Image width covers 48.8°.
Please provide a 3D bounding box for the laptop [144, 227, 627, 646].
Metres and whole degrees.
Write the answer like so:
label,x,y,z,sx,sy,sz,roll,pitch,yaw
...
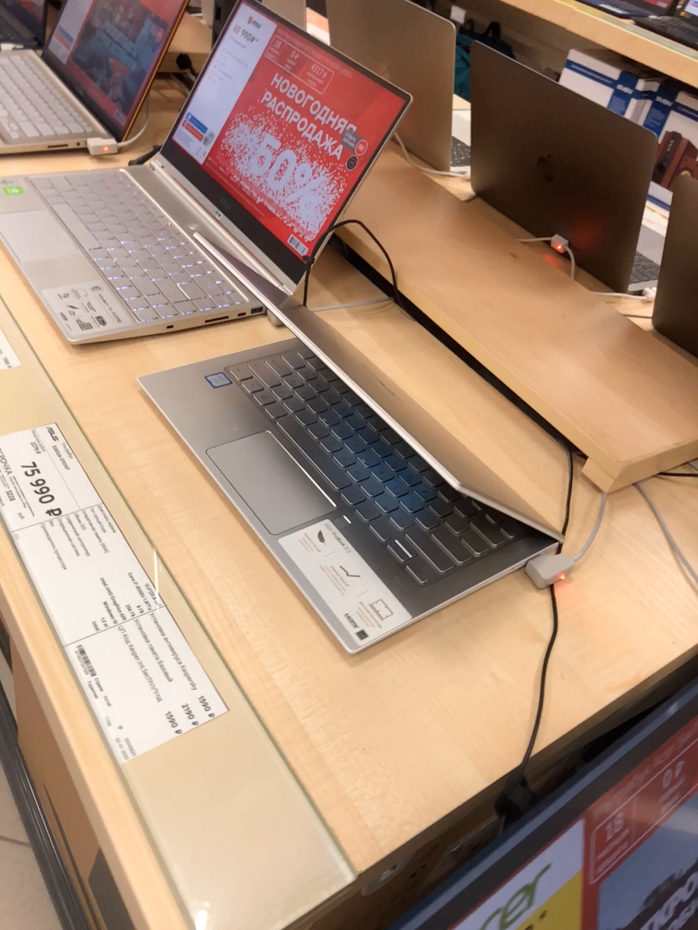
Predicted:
label,x,y,z,sx,sy,sz,roll,pitch,yaw
laptop,0.005,-0.050,0.581,0.197,0.119,0.310,-18,47,-33
